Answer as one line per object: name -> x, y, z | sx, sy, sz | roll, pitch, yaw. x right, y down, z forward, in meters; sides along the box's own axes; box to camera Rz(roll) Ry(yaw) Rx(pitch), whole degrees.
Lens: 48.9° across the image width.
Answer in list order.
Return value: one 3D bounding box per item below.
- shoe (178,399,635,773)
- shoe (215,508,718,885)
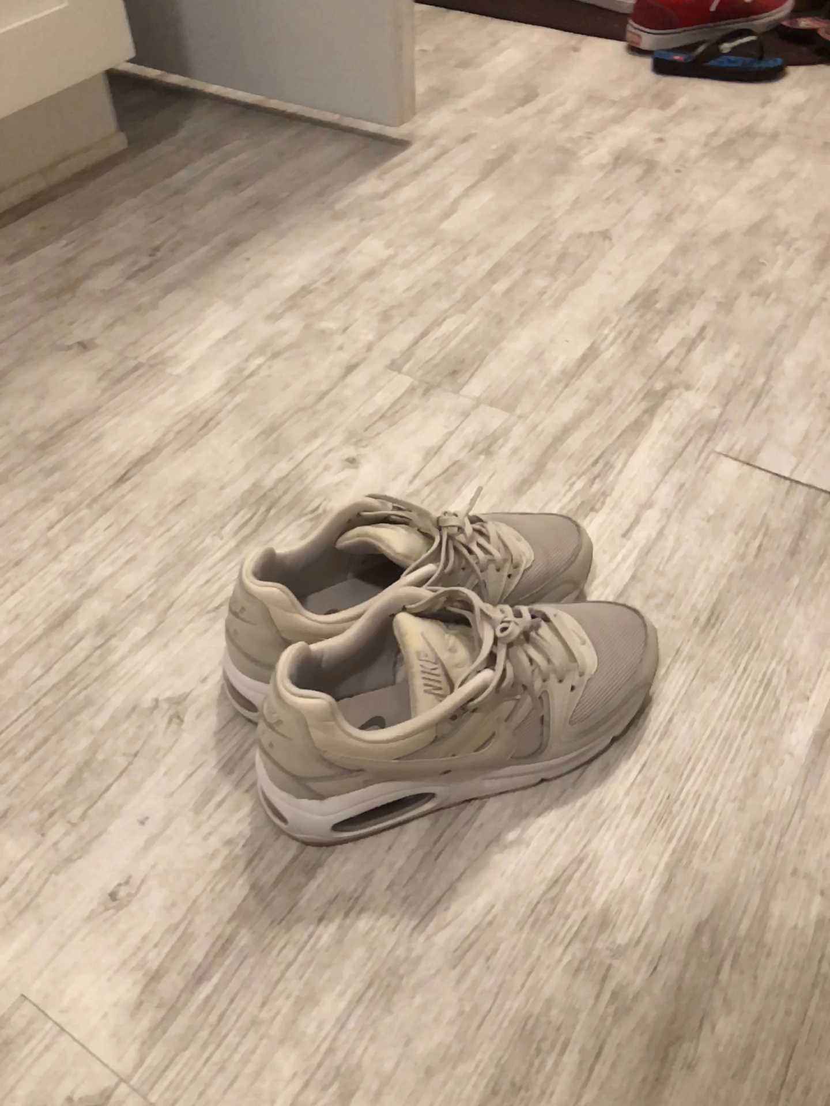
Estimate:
shoe -> -0.001, 0.016, 0.578 | 0.250, 0.120, 0.100 | -22, 50, -17
shoe -> 0.029, 0.080, 0.525 | 0.250, 0.120, 0.090 | -17, 48, -13
